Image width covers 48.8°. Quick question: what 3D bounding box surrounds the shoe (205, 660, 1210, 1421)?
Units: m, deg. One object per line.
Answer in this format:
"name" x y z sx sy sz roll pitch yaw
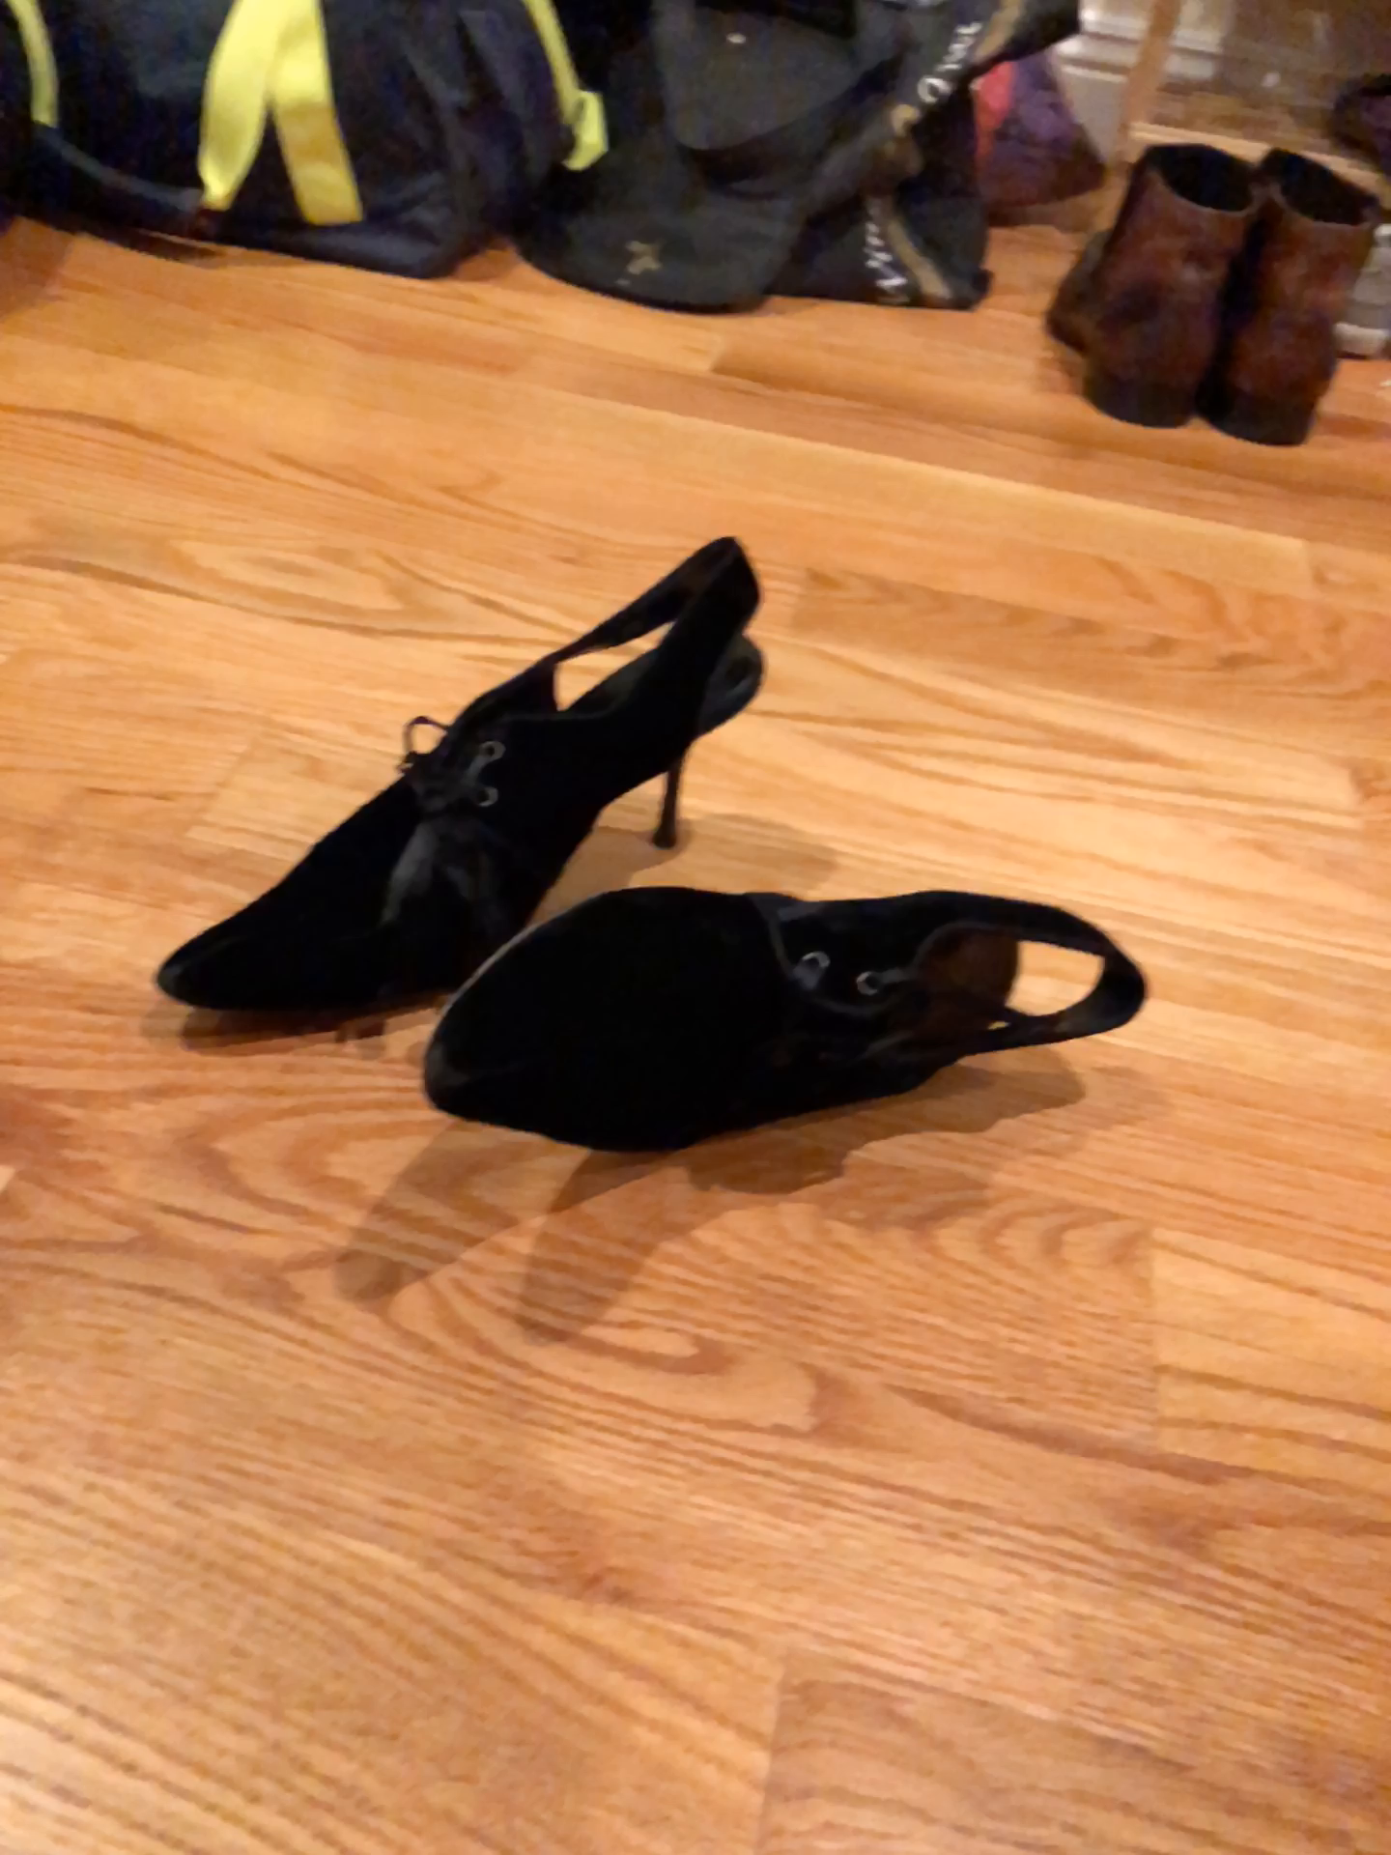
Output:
"shoe" 0.004 0.017 0.451 0.253 0.106 0.118 -16 44 -28

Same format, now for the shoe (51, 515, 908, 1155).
"shoe" -0.066 -0.044 0.528 0.253 0.117 0.107 -21 48 -32
